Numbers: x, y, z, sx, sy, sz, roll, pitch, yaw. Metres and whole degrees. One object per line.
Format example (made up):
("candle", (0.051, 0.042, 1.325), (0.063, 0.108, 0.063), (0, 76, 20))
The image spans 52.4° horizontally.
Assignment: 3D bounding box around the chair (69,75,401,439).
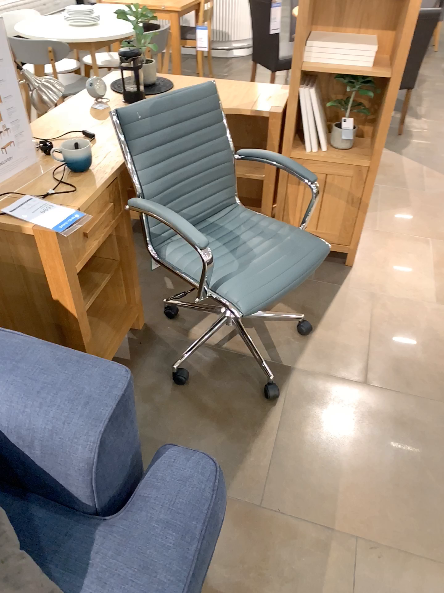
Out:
("chair", (0.035, -0.177, 1.601), (0.710, 0.883, 0.667), (31, 48, 31))
